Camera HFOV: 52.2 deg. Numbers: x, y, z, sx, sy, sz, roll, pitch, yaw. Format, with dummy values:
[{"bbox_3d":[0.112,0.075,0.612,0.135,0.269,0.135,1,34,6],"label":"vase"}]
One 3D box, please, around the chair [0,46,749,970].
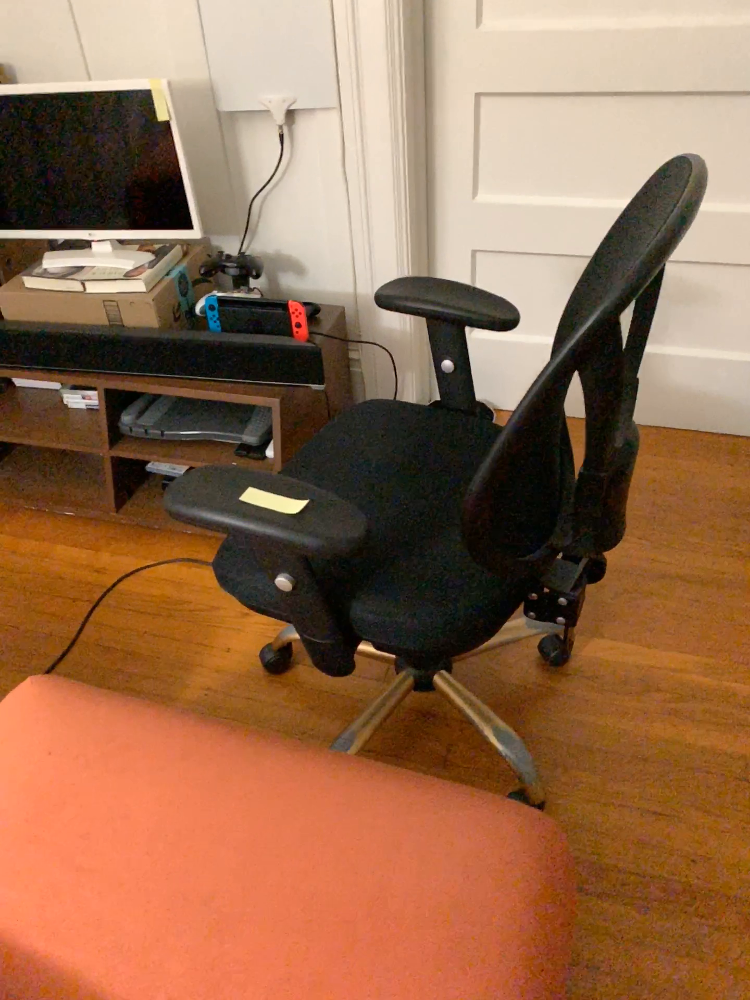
[{"bbox_3d":[0.095,0.006,1.093,0.662,0.974,0.642,20,45,21],"label":"chair"}]
